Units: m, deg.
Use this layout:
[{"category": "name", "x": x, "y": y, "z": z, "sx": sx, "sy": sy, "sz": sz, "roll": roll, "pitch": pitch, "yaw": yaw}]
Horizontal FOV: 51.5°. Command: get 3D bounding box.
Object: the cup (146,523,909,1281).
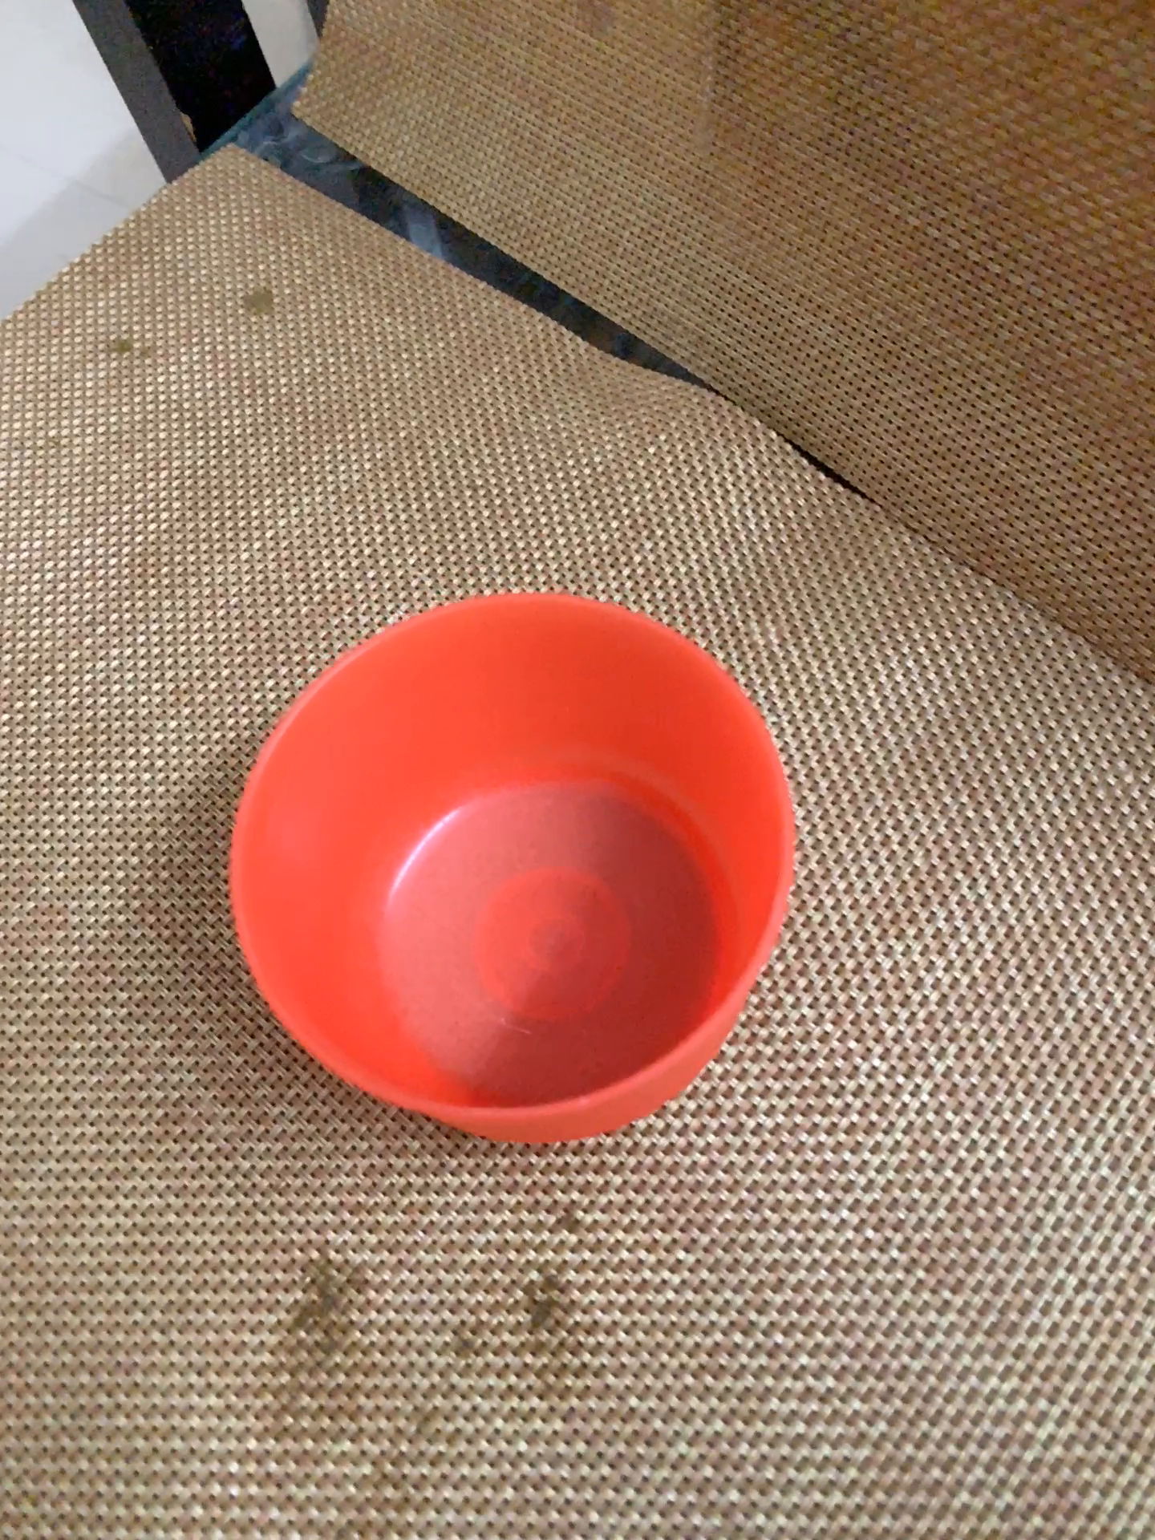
[{"category": "cup", "x": -0.006, "y": 0.019, "z": 0.174, "sx": 0.070, "sy": 0.050, "sz": 0.070, "roll": -3, "pitch": 63, "yaw": 5}]
